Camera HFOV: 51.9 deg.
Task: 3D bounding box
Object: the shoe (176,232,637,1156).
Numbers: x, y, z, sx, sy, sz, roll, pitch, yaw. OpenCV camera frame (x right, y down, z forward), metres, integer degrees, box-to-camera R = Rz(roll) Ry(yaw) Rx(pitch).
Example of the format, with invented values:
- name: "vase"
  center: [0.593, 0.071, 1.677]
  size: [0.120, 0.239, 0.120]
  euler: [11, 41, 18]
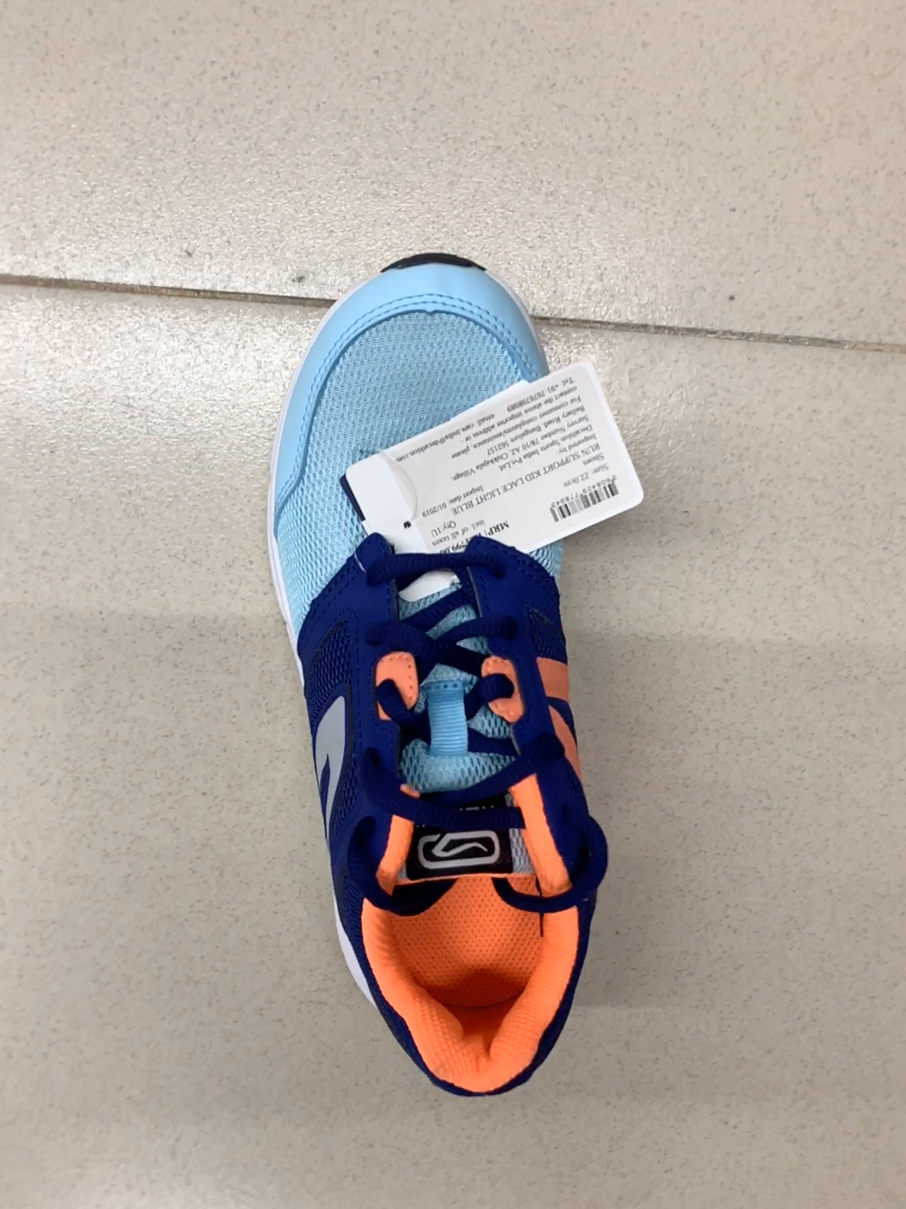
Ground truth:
- name: "shoe"
  center: [-0.010, 0.025, 0.286]
  size: [0.100, 0.080, 0.240]
  euler: [-5, 98, -3]
